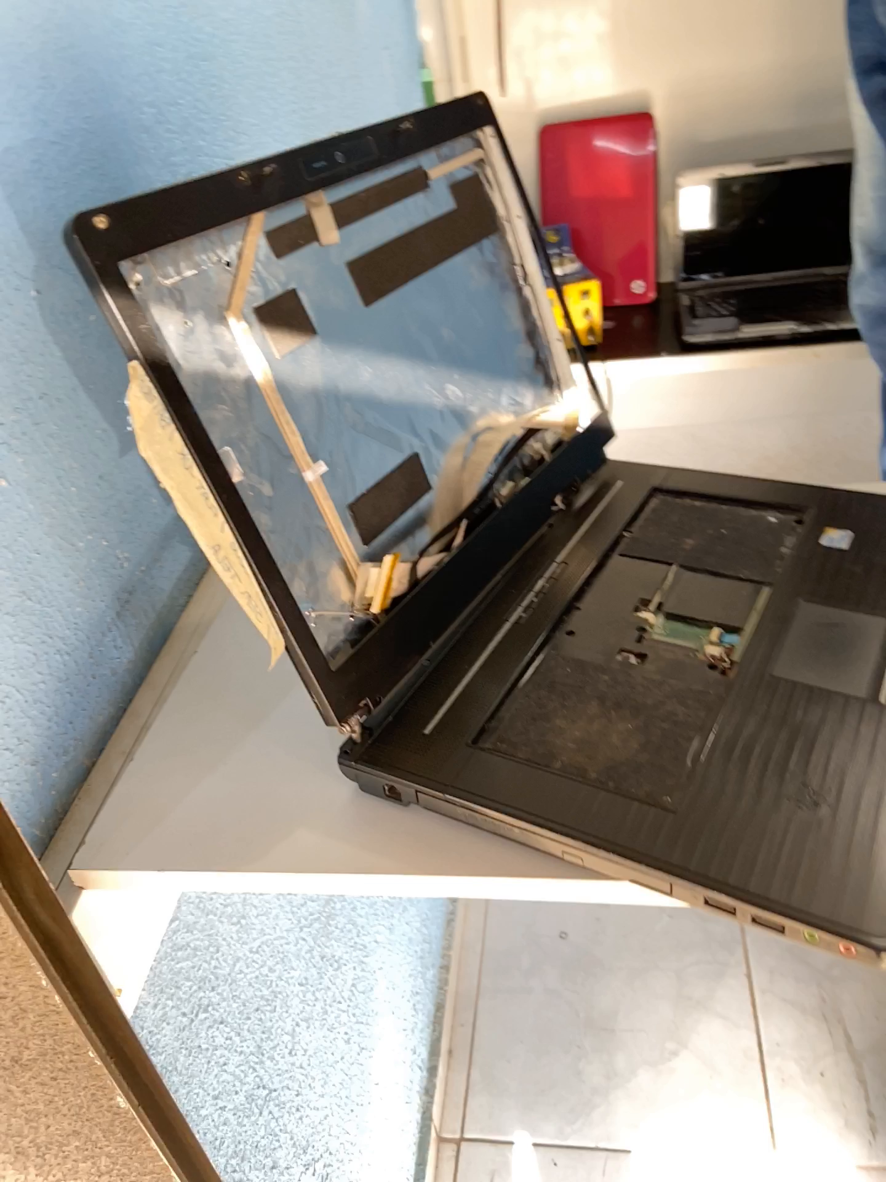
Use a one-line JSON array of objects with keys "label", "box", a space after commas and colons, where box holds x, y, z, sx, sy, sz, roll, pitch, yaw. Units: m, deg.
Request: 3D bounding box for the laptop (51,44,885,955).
[{"label": "laptop", "box": [0.093, -0.103, 0.484, 0.350, 0.261, 0.354, 13, 39, 29]}]
